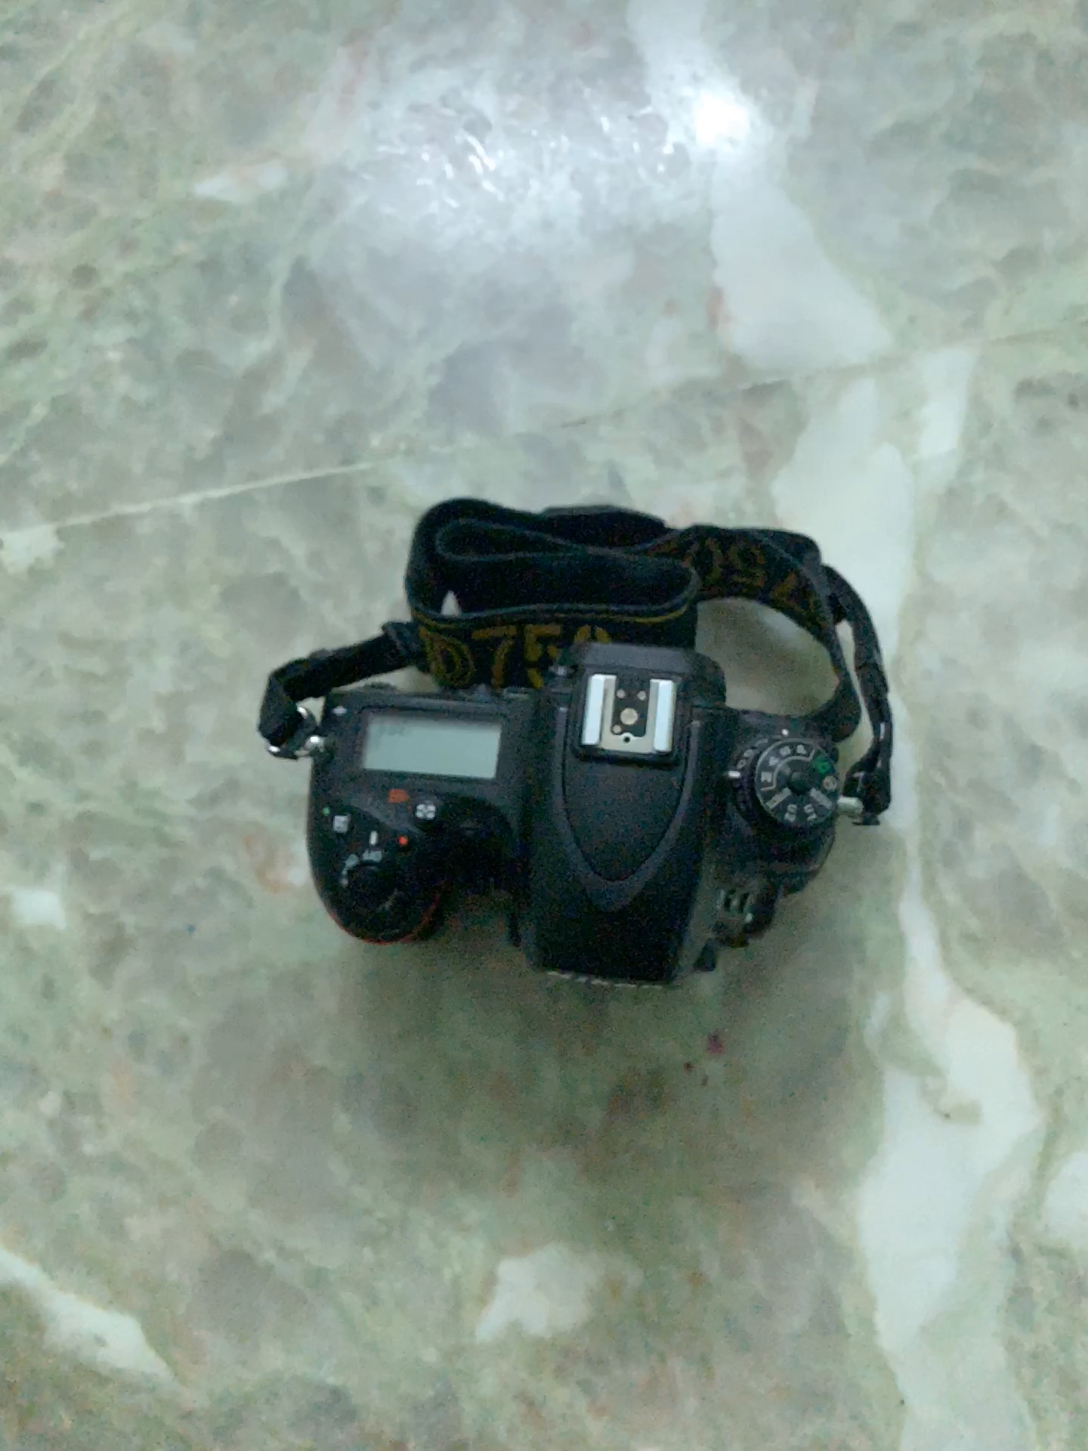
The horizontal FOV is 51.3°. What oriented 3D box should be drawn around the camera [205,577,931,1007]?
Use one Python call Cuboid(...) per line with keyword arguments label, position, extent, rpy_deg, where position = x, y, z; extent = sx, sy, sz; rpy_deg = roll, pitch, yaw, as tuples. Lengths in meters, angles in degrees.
Cuboid(label="camera", position=(0.010, 0.023, 0.294), extent=(0.150, 0.100, 0.080), rpy_deg=(5, 76, 6))
